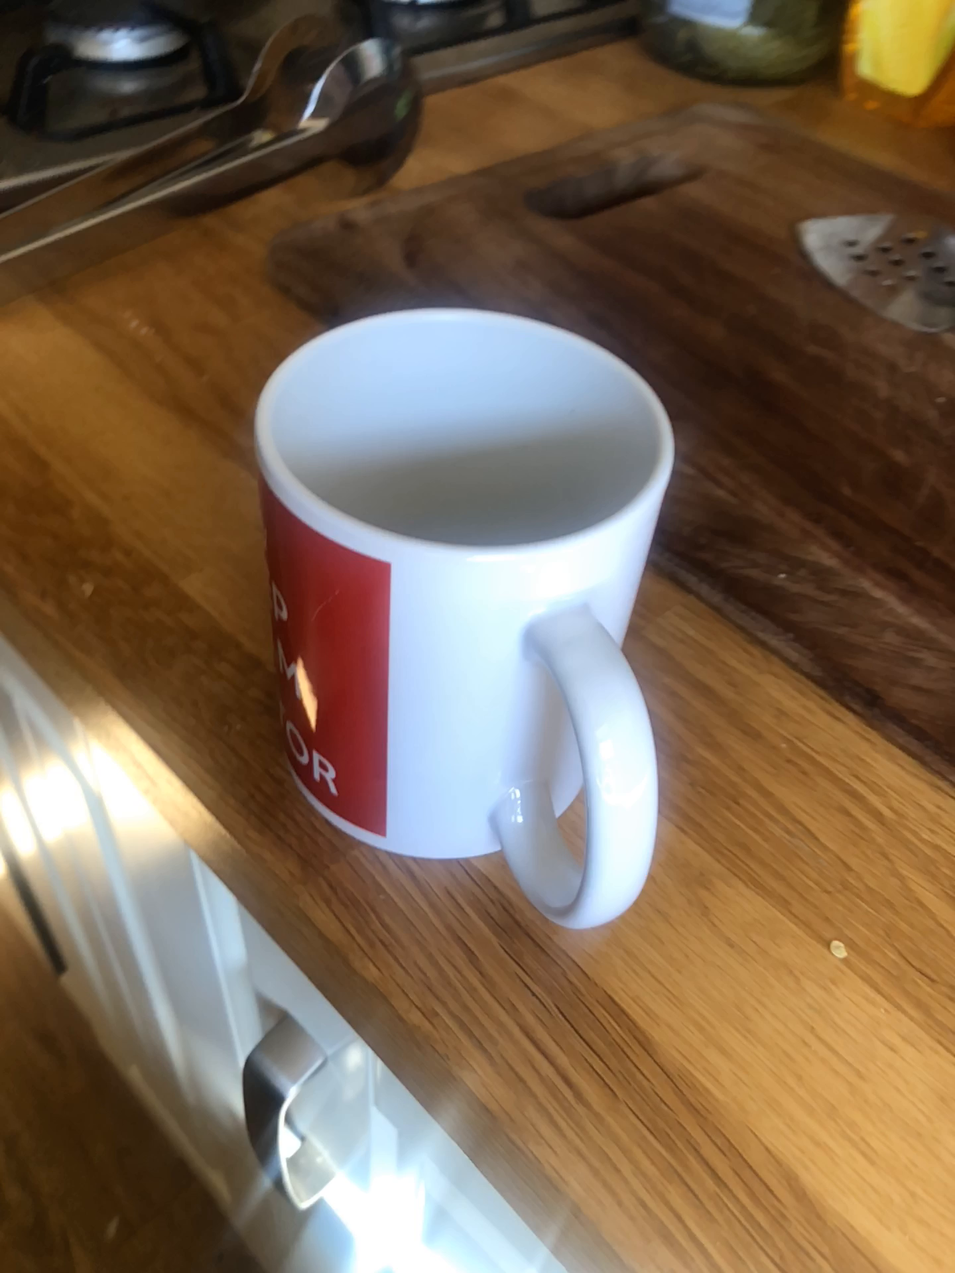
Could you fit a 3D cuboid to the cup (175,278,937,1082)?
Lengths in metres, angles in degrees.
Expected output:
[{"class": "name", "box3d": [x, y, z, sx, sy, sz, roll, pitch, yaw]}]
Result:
[{"class": "cup", "box3d": [0.004, 0.001, 0.231, 0.089, 0.094, 0.124, -20, 51, -27]}]
